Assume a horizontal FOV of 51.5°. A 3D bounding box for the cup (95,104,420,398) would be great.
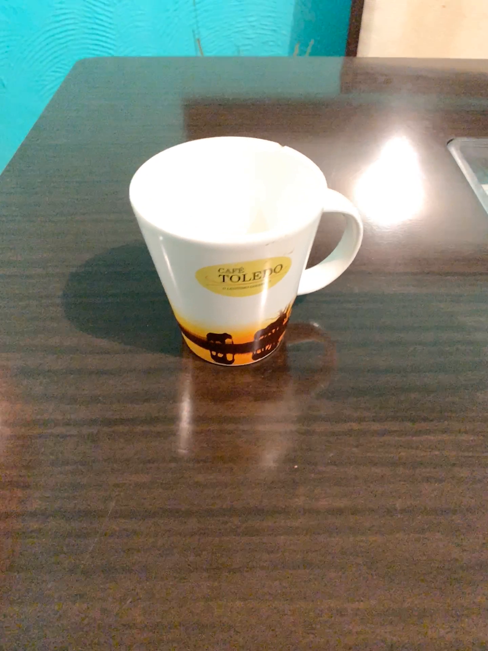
[{"bbox_3d":[0.000,-0.039,0.236,0.110,0.080,0.090,-13,47,-13],"label":"cup"}]
